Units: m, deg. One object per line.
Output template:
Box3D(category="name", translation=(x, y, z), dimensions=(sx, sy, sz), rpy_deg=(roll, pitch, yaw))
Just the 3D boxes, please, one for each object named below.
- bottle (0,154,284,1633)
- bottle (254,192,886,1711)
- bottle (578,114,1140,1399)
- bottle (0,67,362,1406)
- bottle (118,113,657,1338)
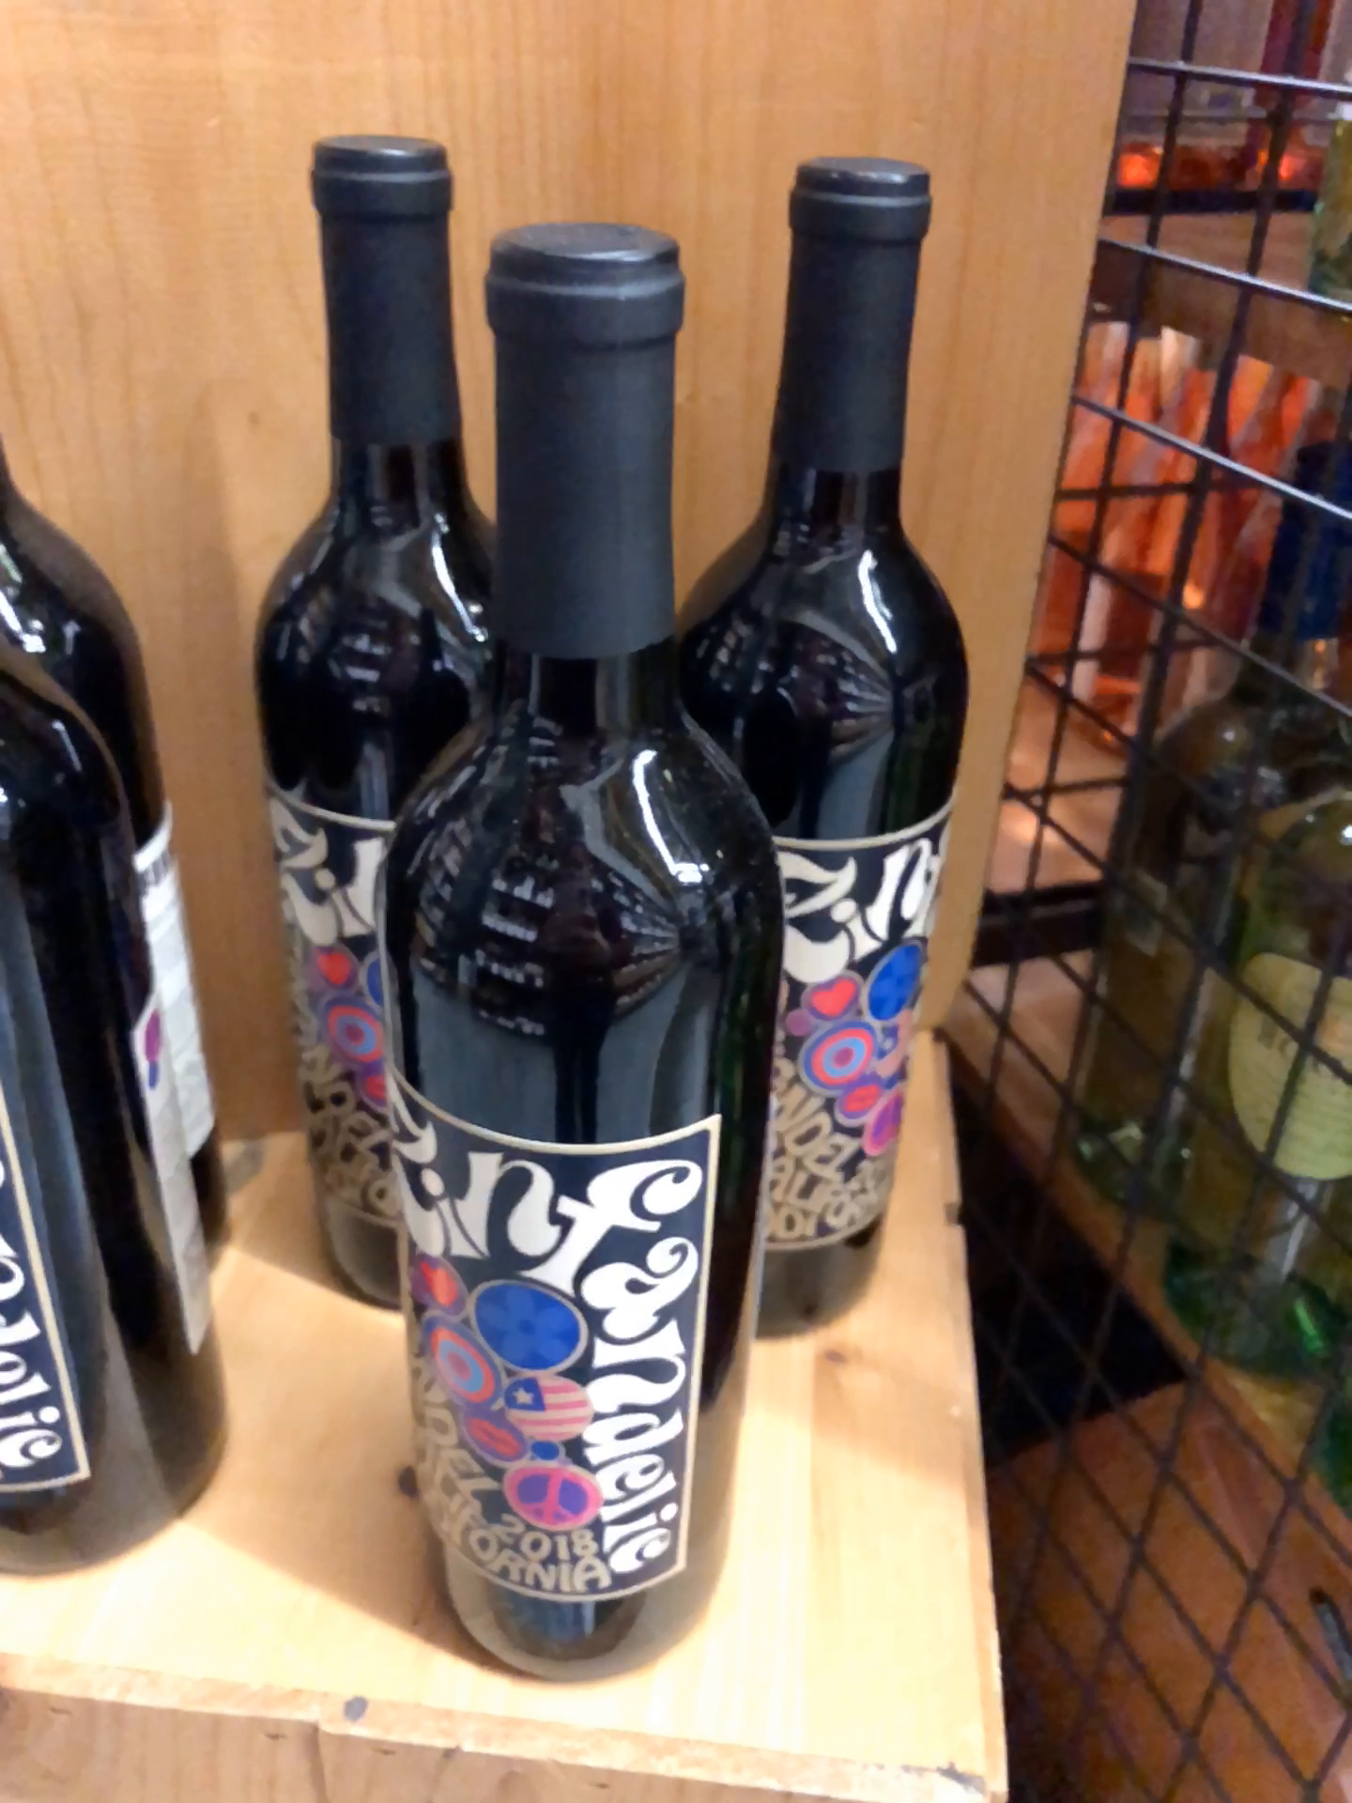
Box3D(category="bottle", translation=(-0.149, 0.019, 0.315), dimensions=(0.080, 0.304, 0.077), rpy_deg=(2, 32, -1))
Box3D(category="bottle", translation=(-0.015, 0.030, 0.284), dimensions=(0.073, 0.286, 0.070), rpy_deg=(2, 32, -1))
Box3D(category="bottle", translation=(0.029, -0.022, 0.384), dimensions=(0.080, 0.310, 0.077), rpy_deg=(2, 32, -1))
Box3D(category="bottle", translation=(-0.137, -0.025, 0.342), dimensions=(0.077, 0.280, 0.080), rpy_deg=(2, 32, -1))
Box3D(category="bottle", translation=(-0.063, -0.032, 0.364), dimensions=(0.080, 0.274, 0.077), rpy_deg=(2, 32, -1))
